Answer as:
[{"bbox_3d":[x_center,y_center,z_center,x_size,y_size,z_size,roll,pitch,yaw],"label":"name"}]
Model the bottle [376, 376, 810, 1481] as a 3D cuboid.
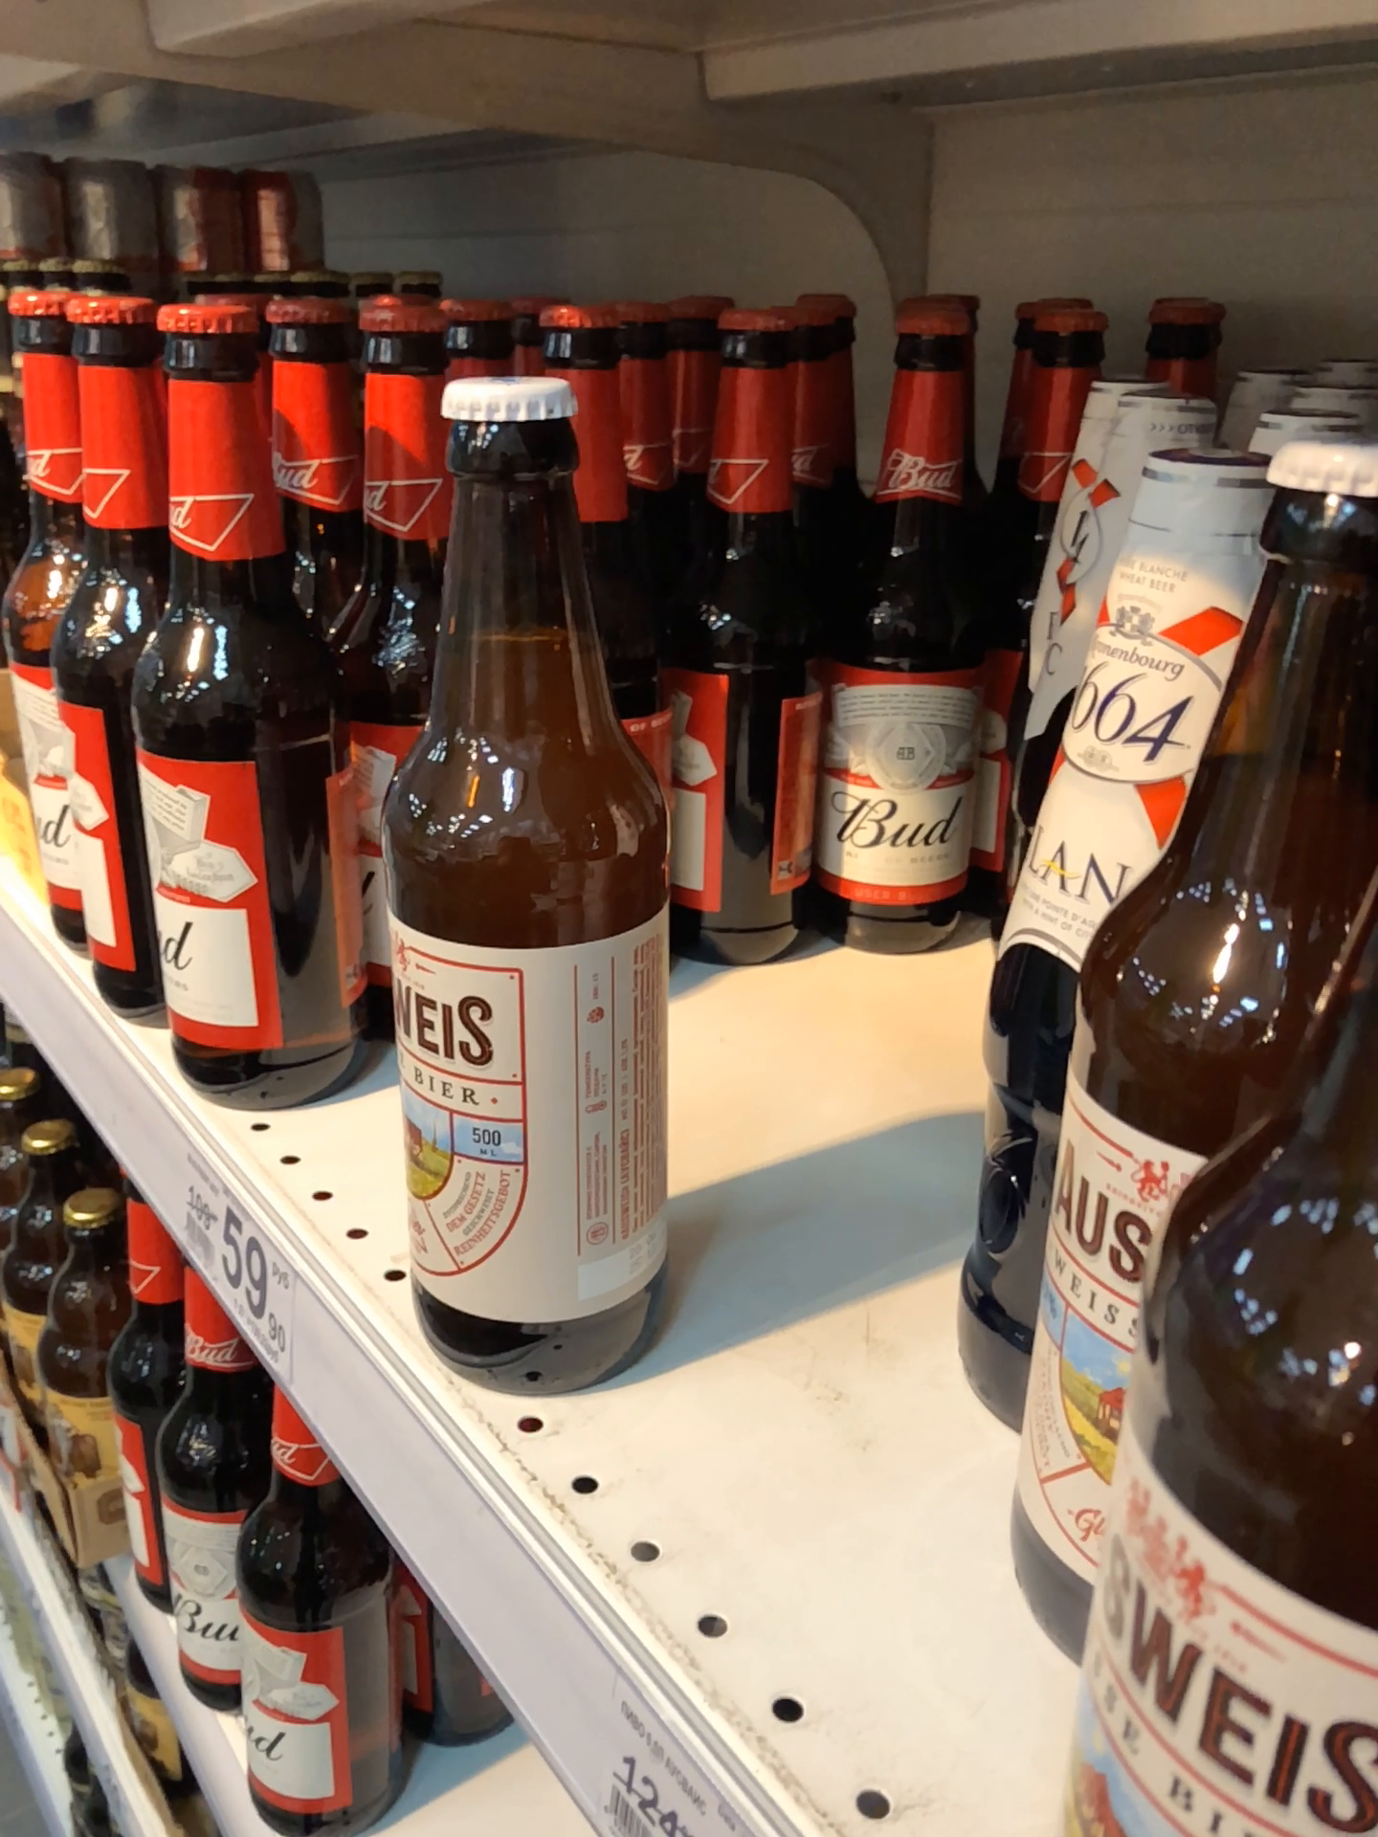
[{"bbox_3d":[-0.025,0.002,0.370,0.070,0.249,0.080,-8,23,-21],"label":"bottle"}]
